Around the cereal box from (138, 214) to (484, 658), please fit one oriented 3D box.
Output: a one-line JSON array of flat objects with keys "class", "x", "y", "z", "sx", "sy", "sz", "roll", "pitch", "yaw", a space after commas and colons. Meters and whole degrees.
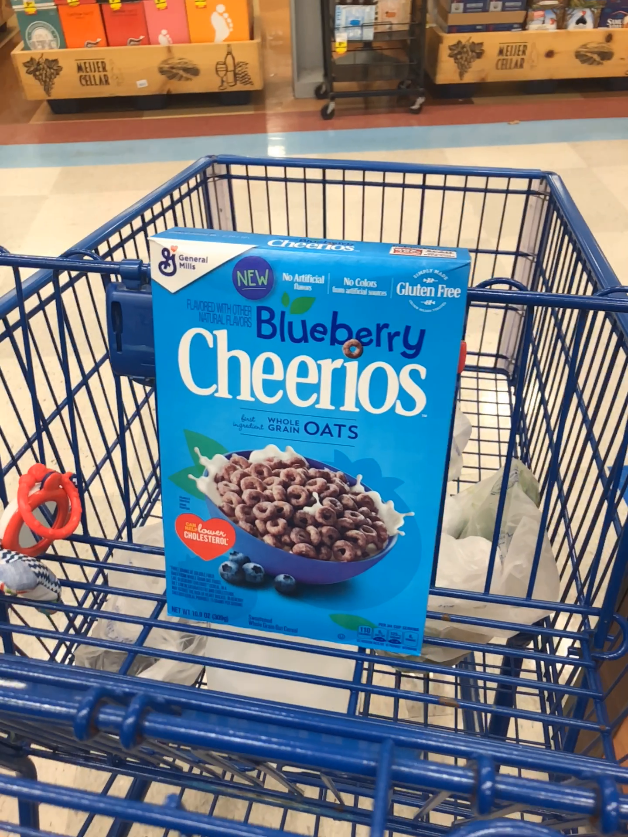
[{"class": "cereal box", "x": -0.005, "y": 0.013, "z": 0.477, "sx": 0.200, "sy": 0.280, "sz": 0.070, "roll": 6, "pitch": 22, "yaw": 9}]
